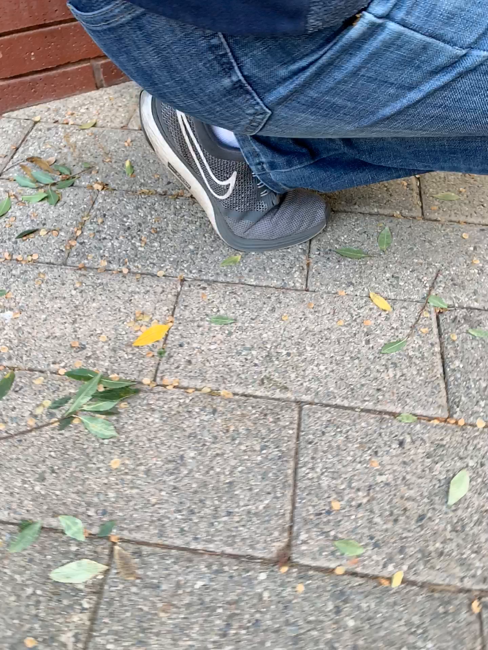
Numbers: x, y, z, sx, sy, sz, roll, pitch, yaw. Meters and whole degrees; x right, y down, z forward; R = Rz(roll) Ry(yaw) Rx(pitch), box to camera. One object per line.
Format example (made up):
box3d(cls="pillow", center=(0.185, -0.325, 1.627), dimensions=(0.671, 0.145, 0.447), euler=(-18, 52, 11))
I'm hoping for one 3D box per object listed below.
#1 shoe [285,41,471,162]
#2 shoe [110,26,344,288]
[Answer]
box3d(cls="shoe", center=(0.217, -0.376, 0.829), dimensions=(0.280, 0.083, 0.111), euler=(-24, 55, -18))
box3d(cls="shoe", center=(-0.005, -0.186, 0.606), dimensions=(0.098, 0.273, 0.116), euler=(-19, 40, 41))
